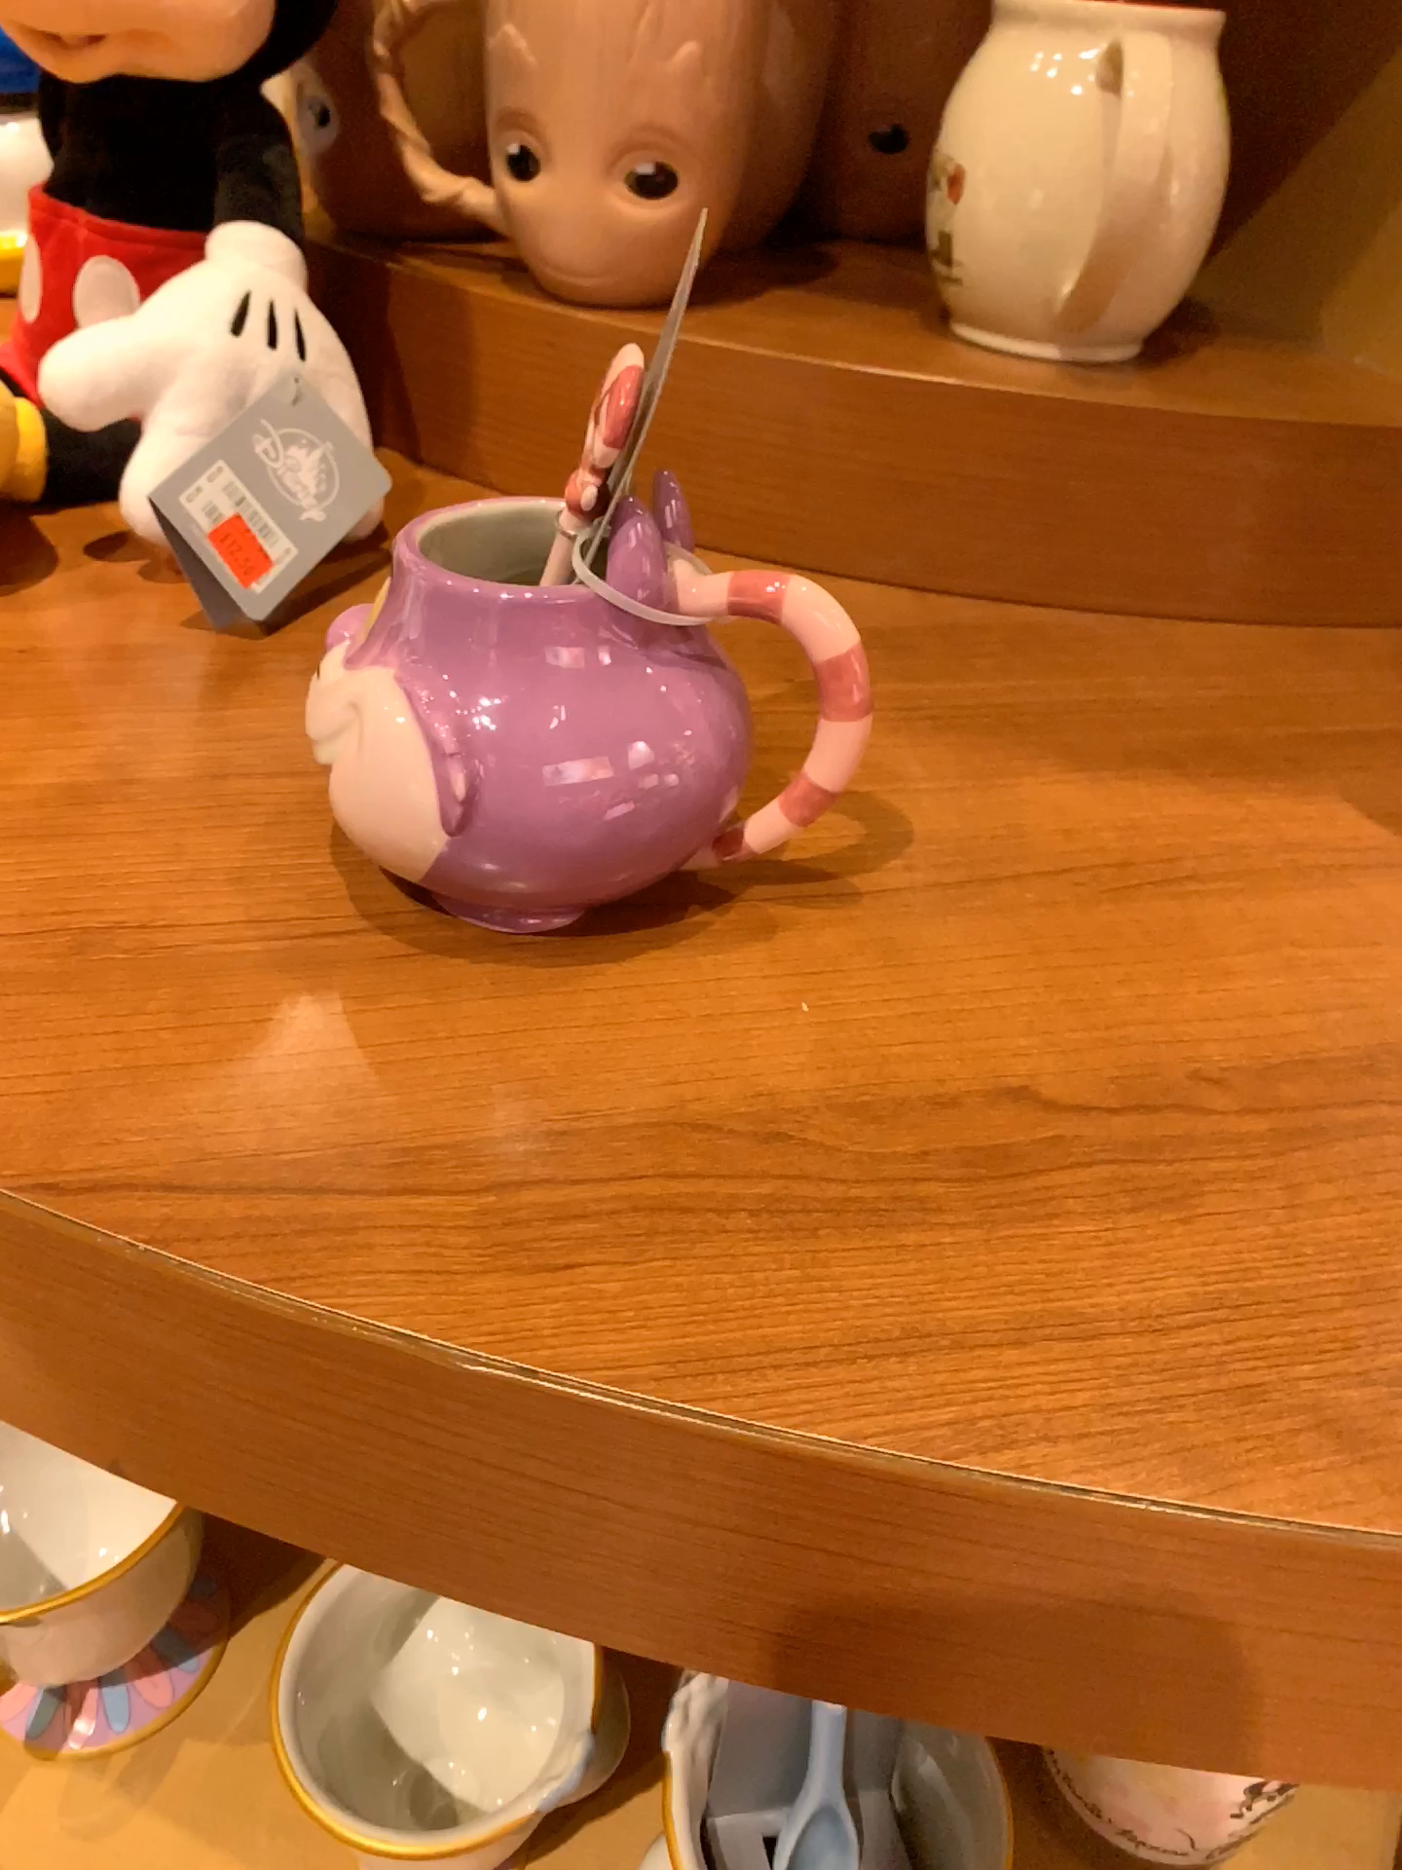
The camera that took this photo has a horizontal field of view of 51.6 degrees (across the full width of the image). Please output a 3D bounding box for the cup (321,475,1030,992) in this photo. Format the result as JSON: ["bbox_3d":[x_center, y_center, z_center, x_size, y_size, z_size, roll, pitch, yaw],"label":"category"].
[{"bbox_3d":[-0.010,-0.053,0.358,0.142,0.077,0.115,2,34,-6],"label":"cup"}]
